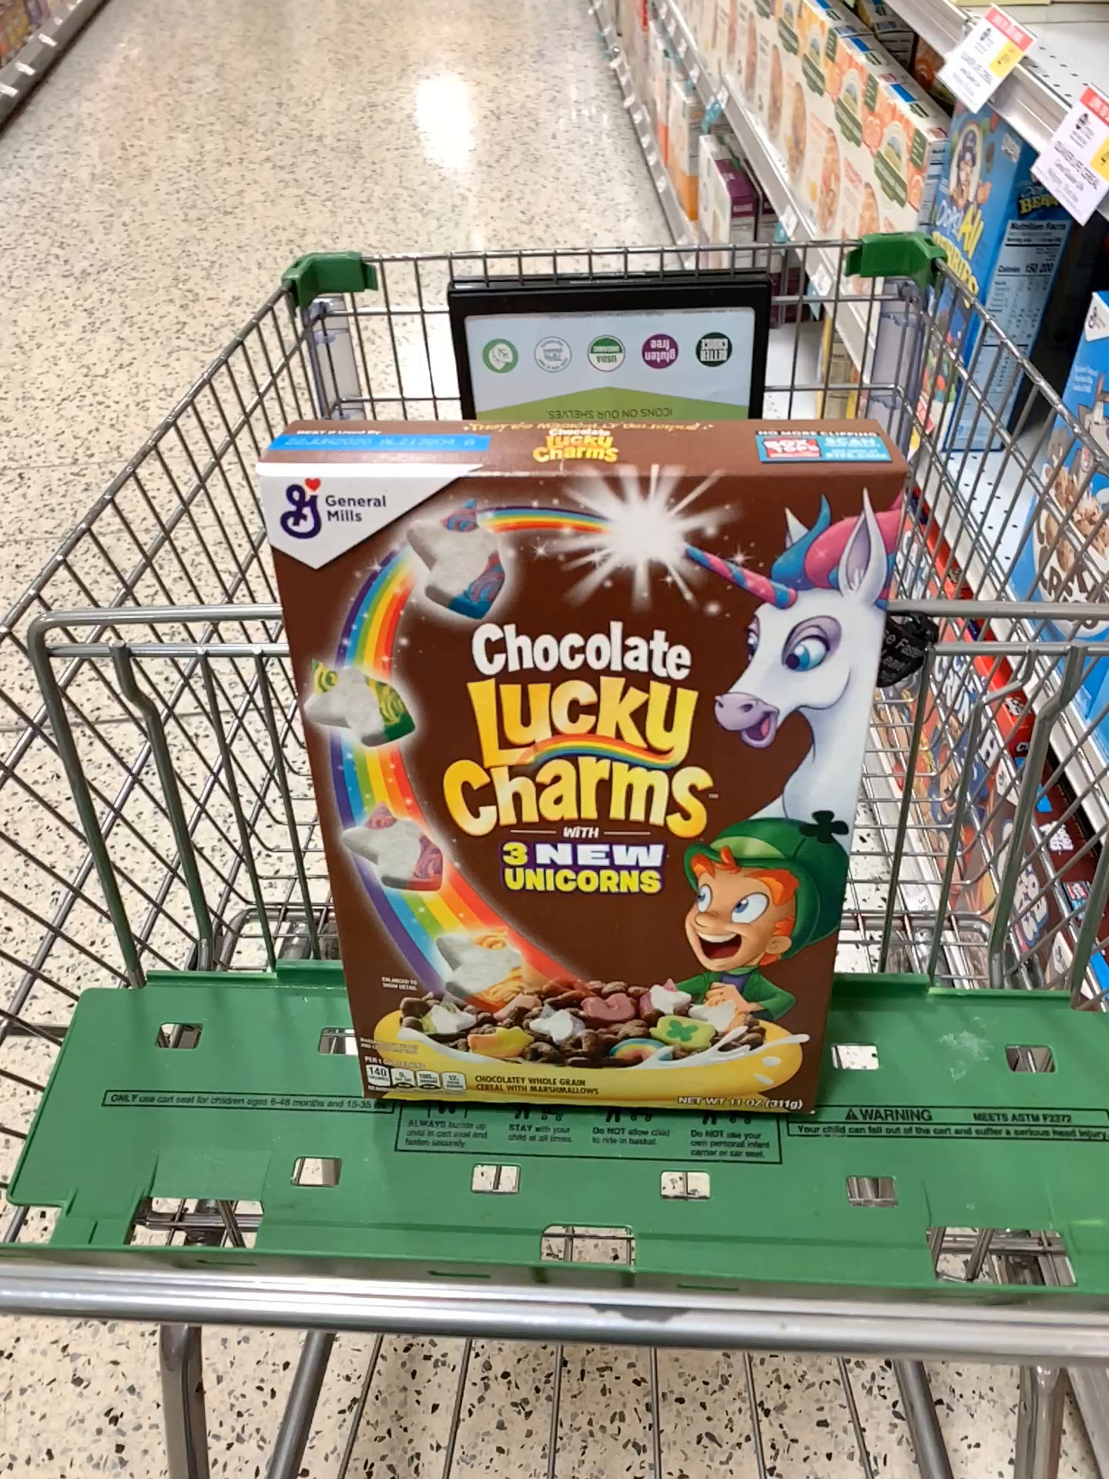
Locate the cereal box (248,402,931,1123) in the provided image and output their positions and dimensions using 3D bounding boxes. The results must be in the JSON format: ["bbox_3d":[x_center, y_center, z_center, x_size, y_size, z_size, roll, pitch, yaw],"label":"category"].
[{"bbox_3d":[0.014,0.026,0.437,0.200,0.297,0.050,1,34,5],"label":"cereal box"}]
